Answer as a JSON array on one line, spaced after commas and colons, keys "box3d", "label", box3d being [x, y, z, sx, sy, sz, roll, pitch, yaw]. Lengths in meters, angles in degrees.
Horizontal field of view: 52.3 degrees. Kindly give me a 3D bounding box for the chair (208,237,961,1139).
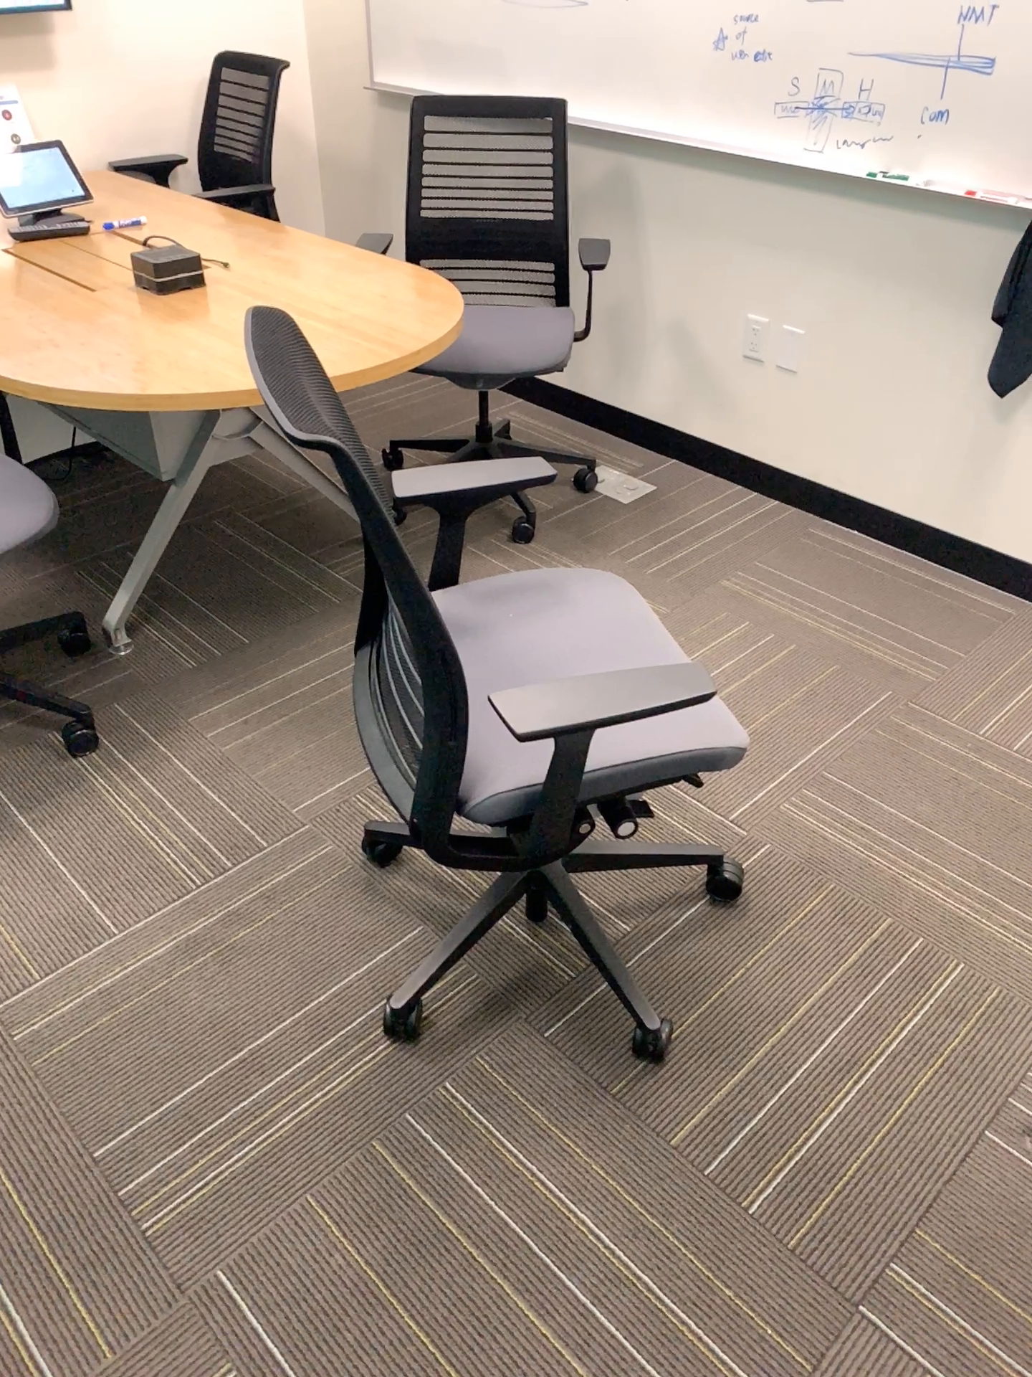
[{"box3d": [0.012, -0.014, 1.498, 0.690, 0.994, 0.654, -9, 38, -13], "label": "chair"}]
